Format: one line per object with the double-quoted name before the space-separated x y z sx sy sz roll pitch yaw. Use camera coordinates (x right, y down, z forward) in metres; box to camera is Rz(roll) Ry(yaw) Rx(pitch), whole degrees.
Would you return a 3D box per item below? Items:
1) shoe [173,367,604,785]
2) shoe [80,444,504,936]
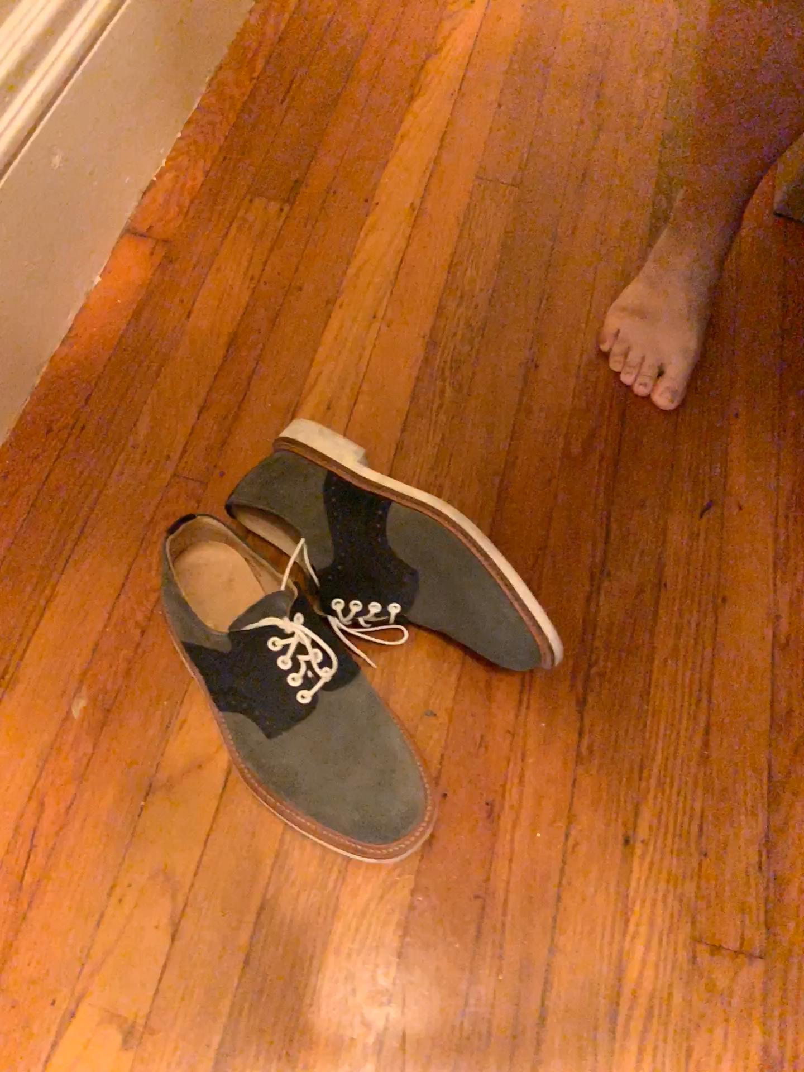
"shoe" -0.018 0.031 0.649 0.310 0.130 0.120 41 69 15
"shoe" -0.084 0.101 0.586 0.130 0.100 0.311 -32 70 -19
